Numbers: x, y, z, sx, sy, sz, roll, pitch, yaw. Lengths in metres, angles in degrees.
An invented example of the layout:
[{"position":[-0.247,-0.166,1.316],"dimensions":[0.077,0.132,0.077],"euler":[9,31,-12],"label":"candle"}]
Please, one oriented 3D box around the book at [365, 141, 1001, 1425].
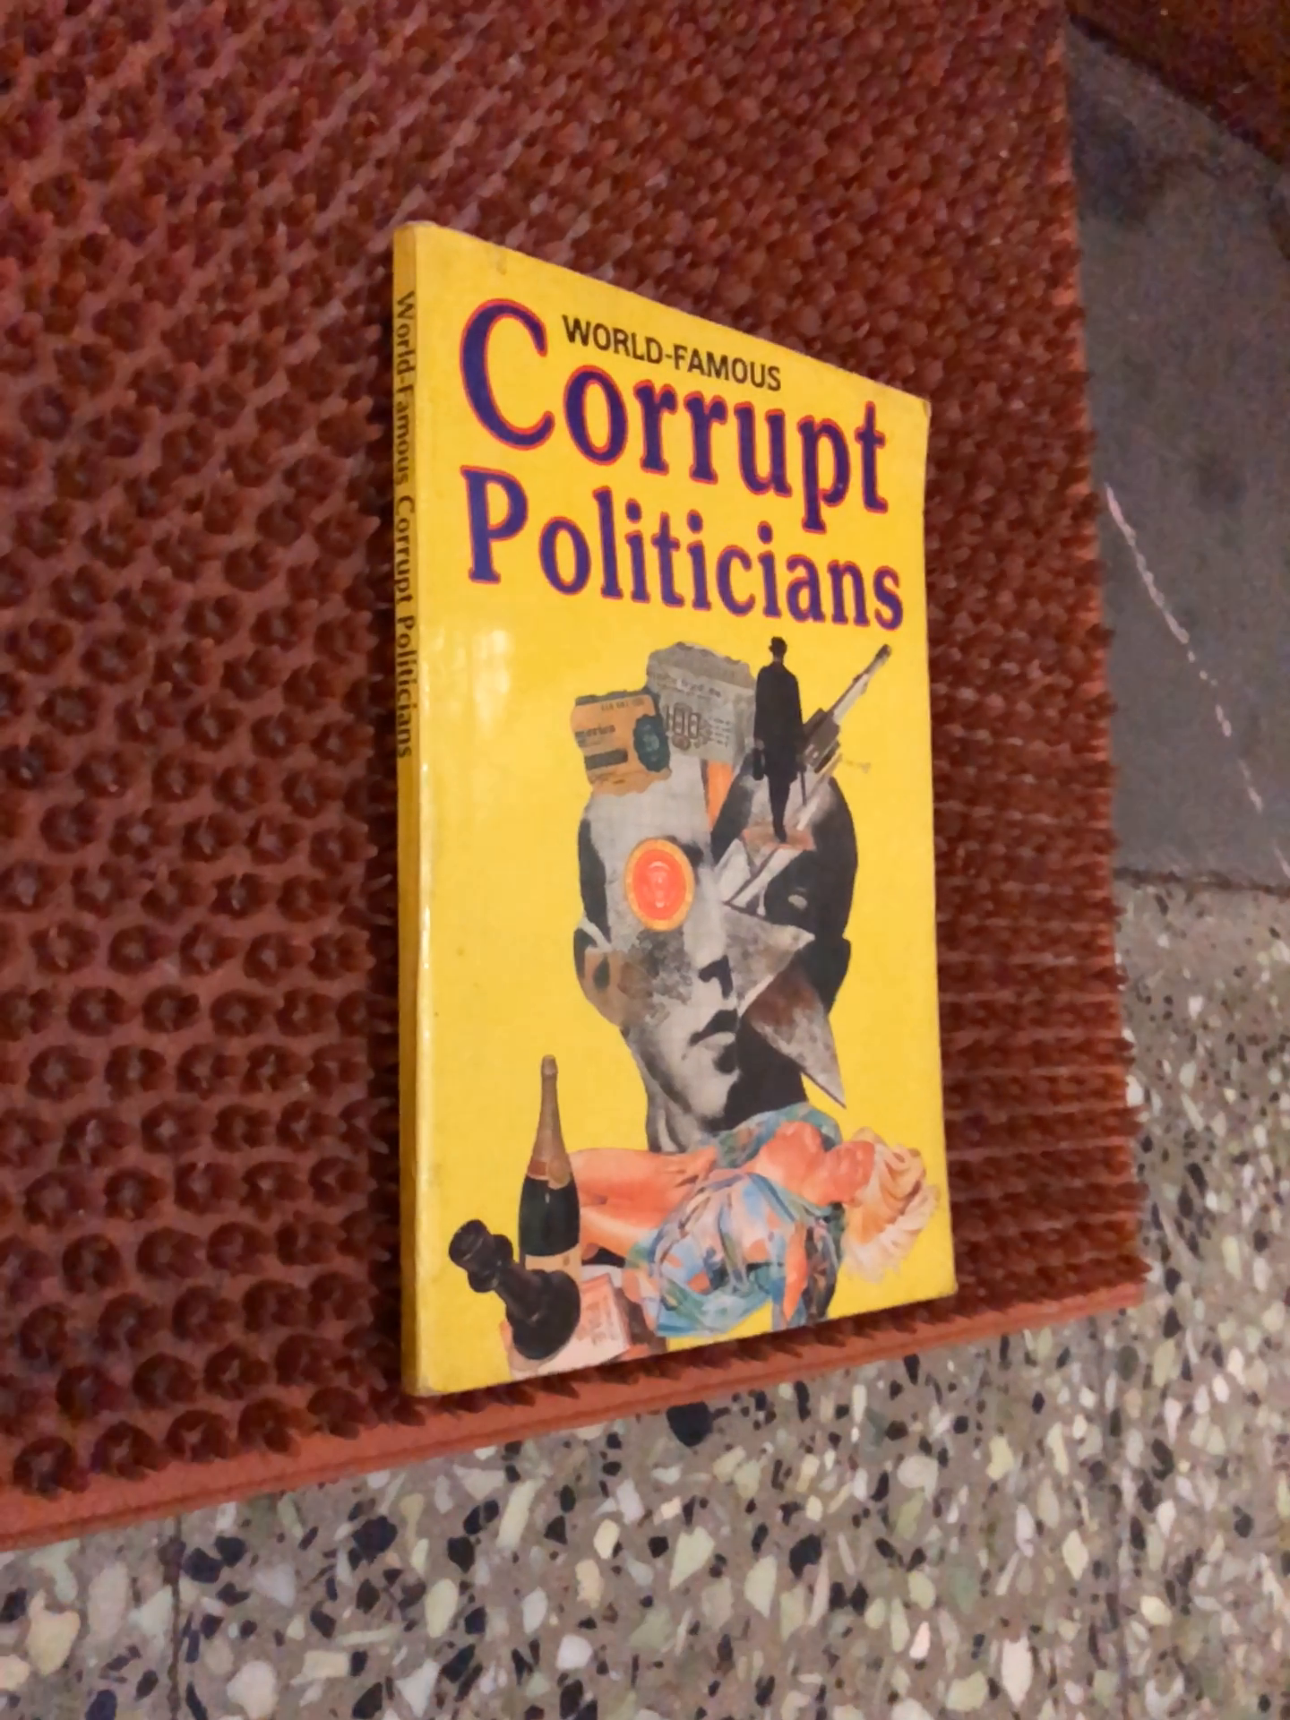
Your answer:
[{"position":[0.014,-0.014,0.307],"dimensions":[0.151,0.020,0.230],"euler":[5,80,-38],"label":"book"}]
